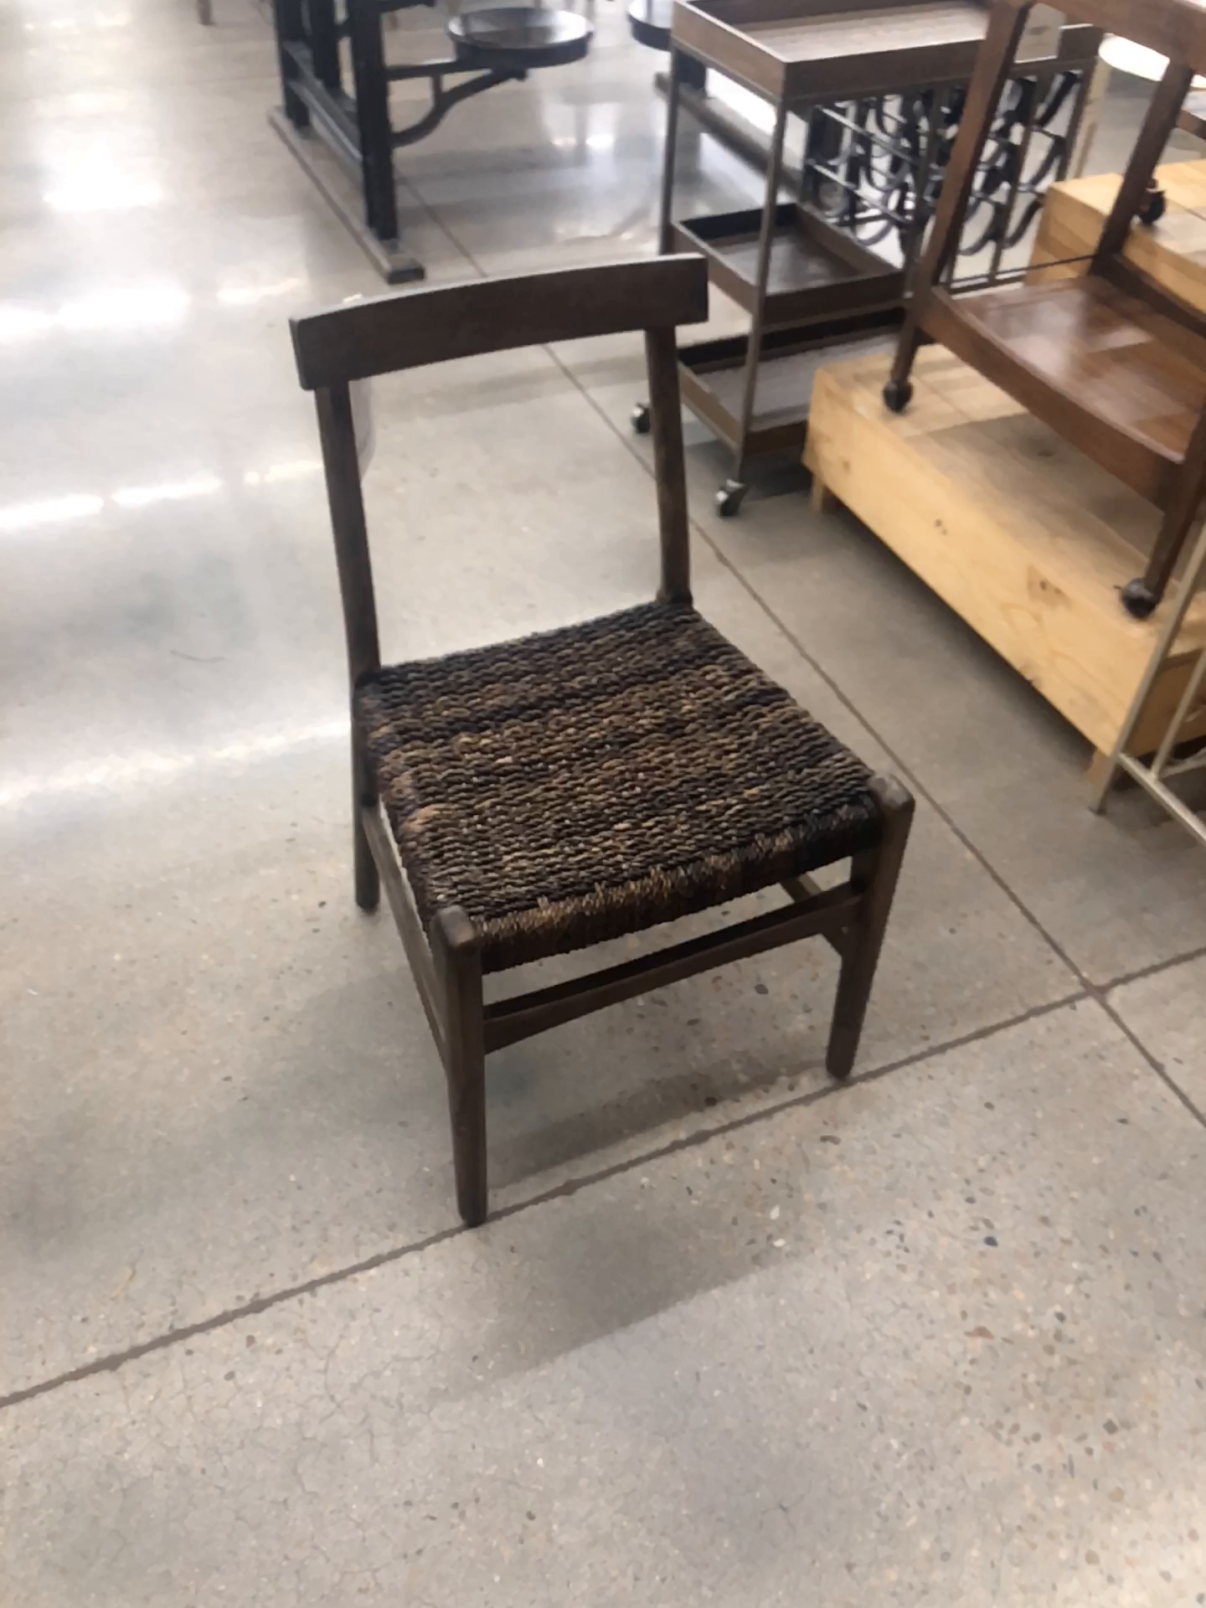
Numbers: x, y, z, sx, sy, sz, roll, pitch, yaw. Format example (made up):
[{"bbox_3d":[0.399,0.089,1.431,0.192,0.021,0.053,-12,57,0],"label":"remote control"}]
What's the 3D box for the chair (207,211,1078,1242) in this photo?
[{"bbox_3d":[-0.011,-0.070,1.389,0.549,0.816,0.534,-16,48,-19],"label":"chair"}]
